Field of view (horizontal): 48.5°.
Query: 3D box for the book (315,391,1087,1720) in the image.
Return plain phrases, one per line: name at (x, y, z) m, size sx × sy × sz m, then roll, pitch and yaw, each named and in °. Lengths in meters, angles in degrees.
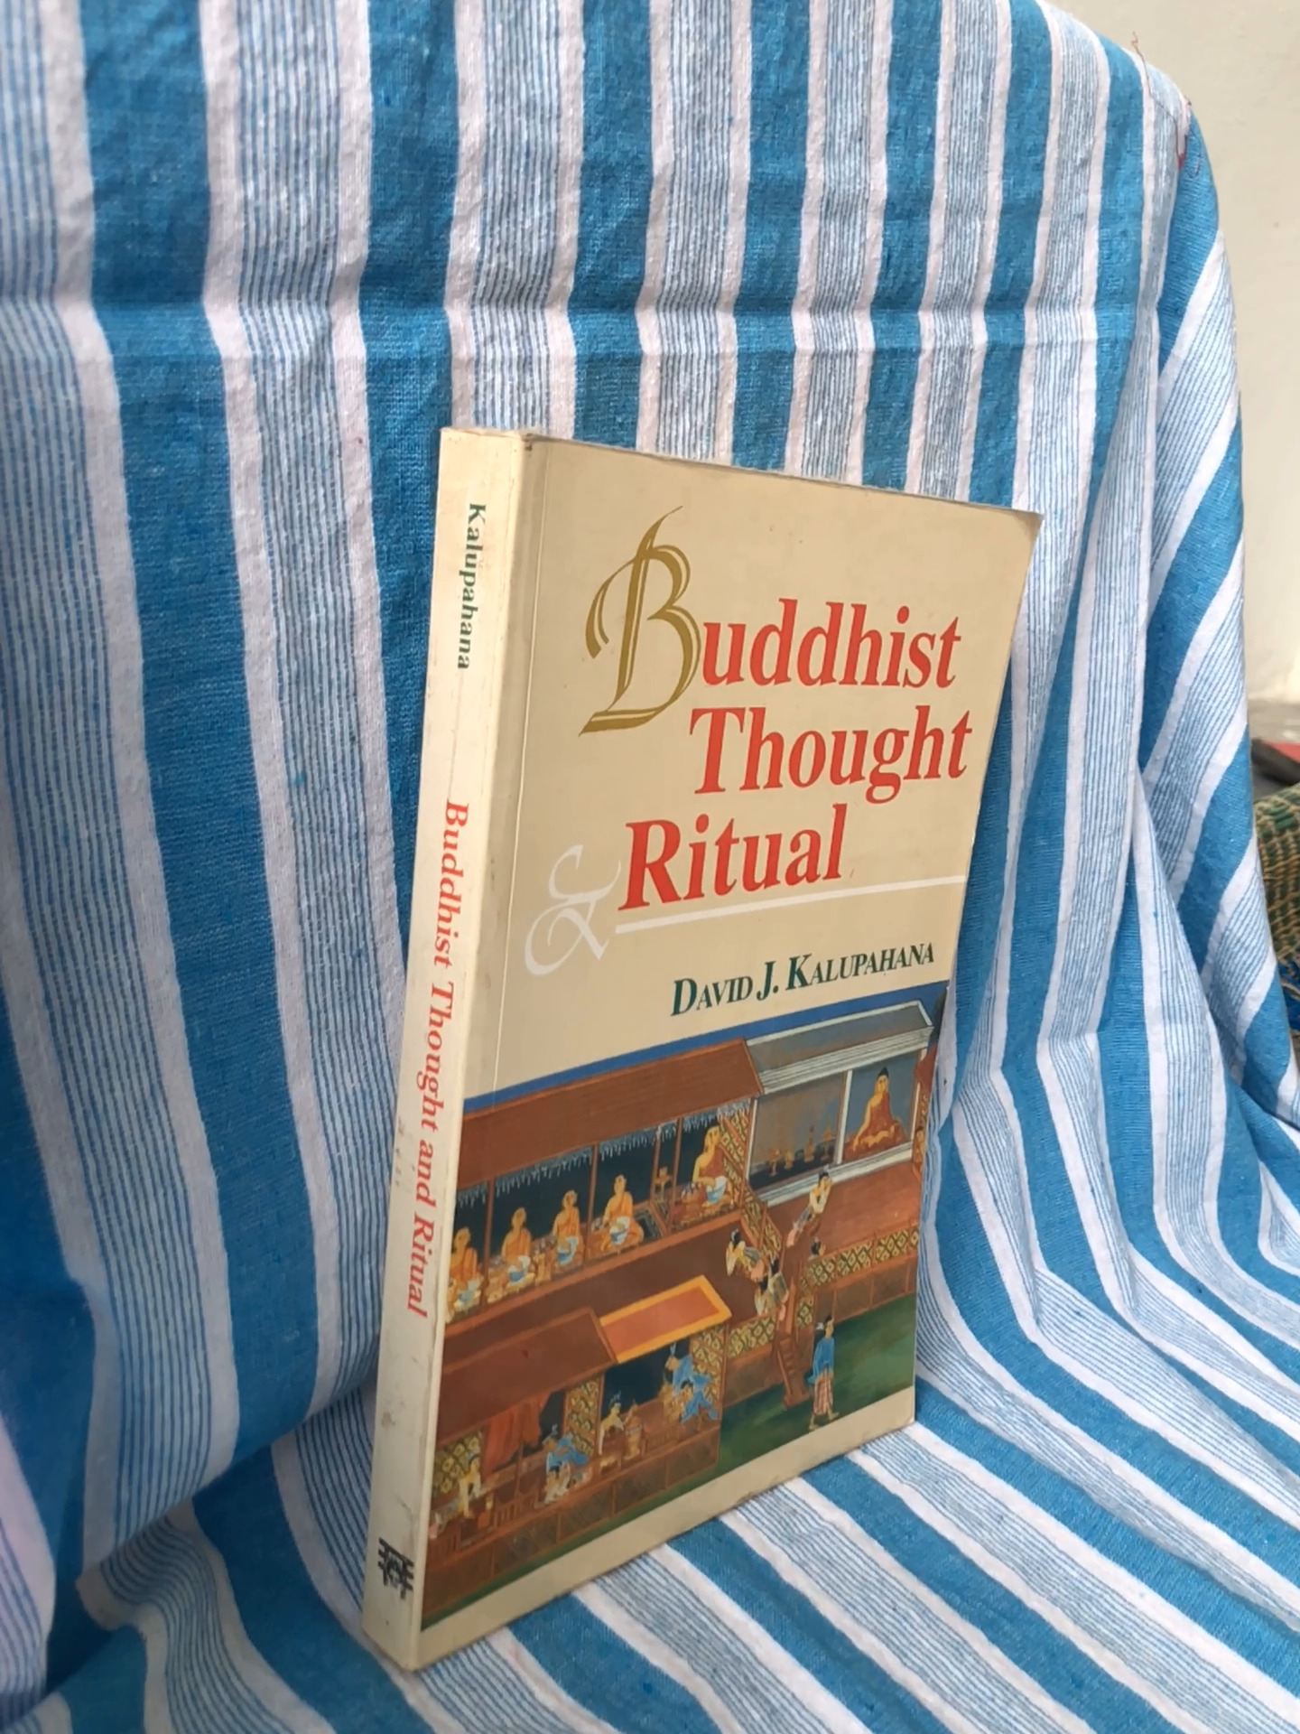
book at (0.015, 0.033, 0.281) m, size 0.151 × 0.219 × 0.020 m, roll -5°, pitch 18°, yaw -42°
